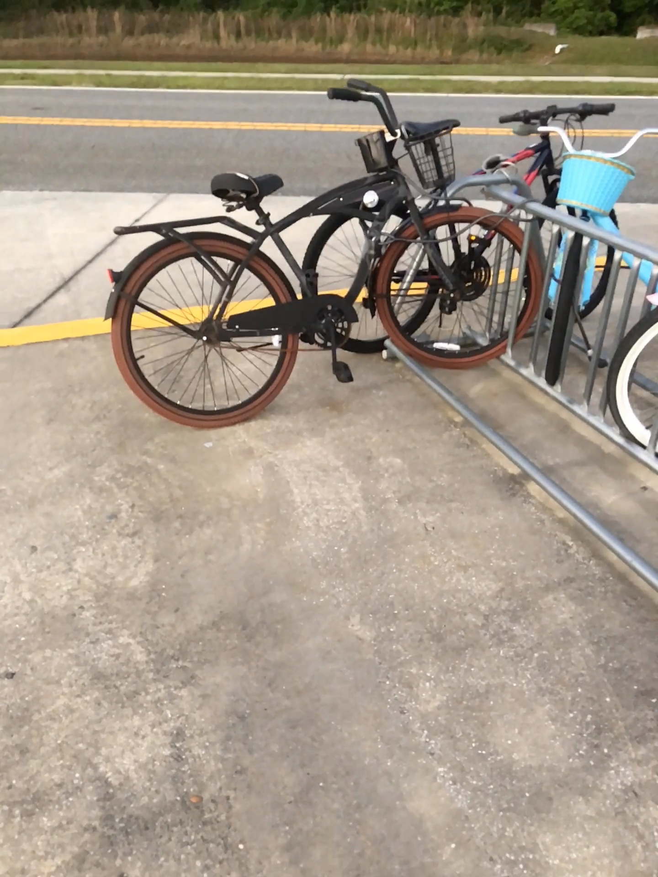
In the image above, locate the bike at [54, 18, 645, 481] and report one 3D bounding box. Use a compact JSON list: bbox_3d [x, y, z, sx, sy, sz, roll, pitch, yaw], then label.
[{"bbox_3d":[0.033,-0.790,2.687,1.721,1.117,0.833,-17,35,-17],"label":"bike"}]
